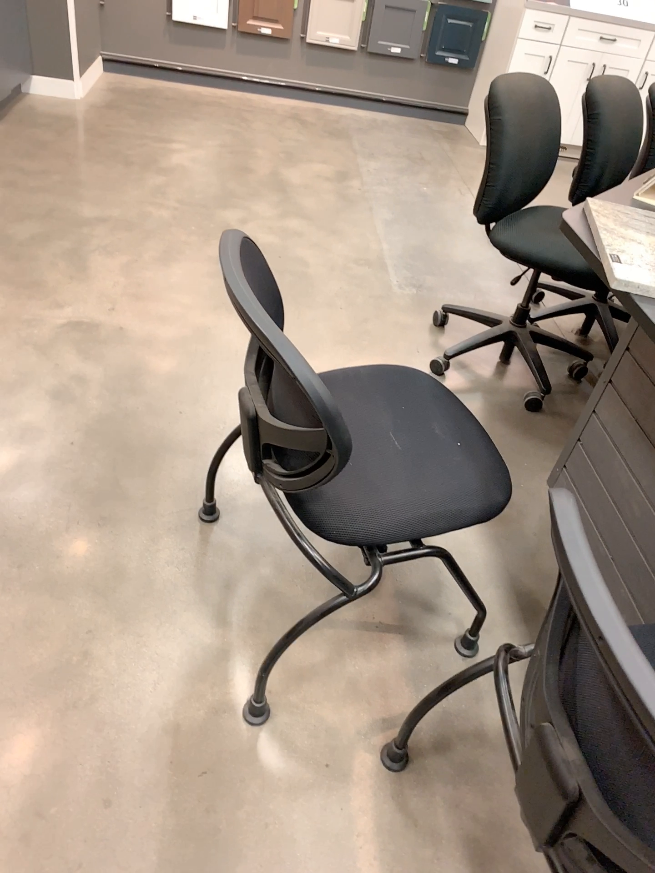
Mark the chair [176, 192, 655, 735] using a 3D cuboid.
[{"bbox_3d":[0.053,0.034,1.301,0.594,0.777,0.607,-5,42,-19],"label":"chair"}]

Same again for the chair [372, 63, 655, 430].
[{"bbox_3d":[0.699,-0.665,2.255,0.706,0.886,0.645,-29,53,-36],"label":"chair"}]

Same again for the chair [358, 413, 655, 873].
[{"bbox_3d":[0.434,0.477,0.857,0.584,0.777,0.597,3,40,-10],"label":"chair"}]
